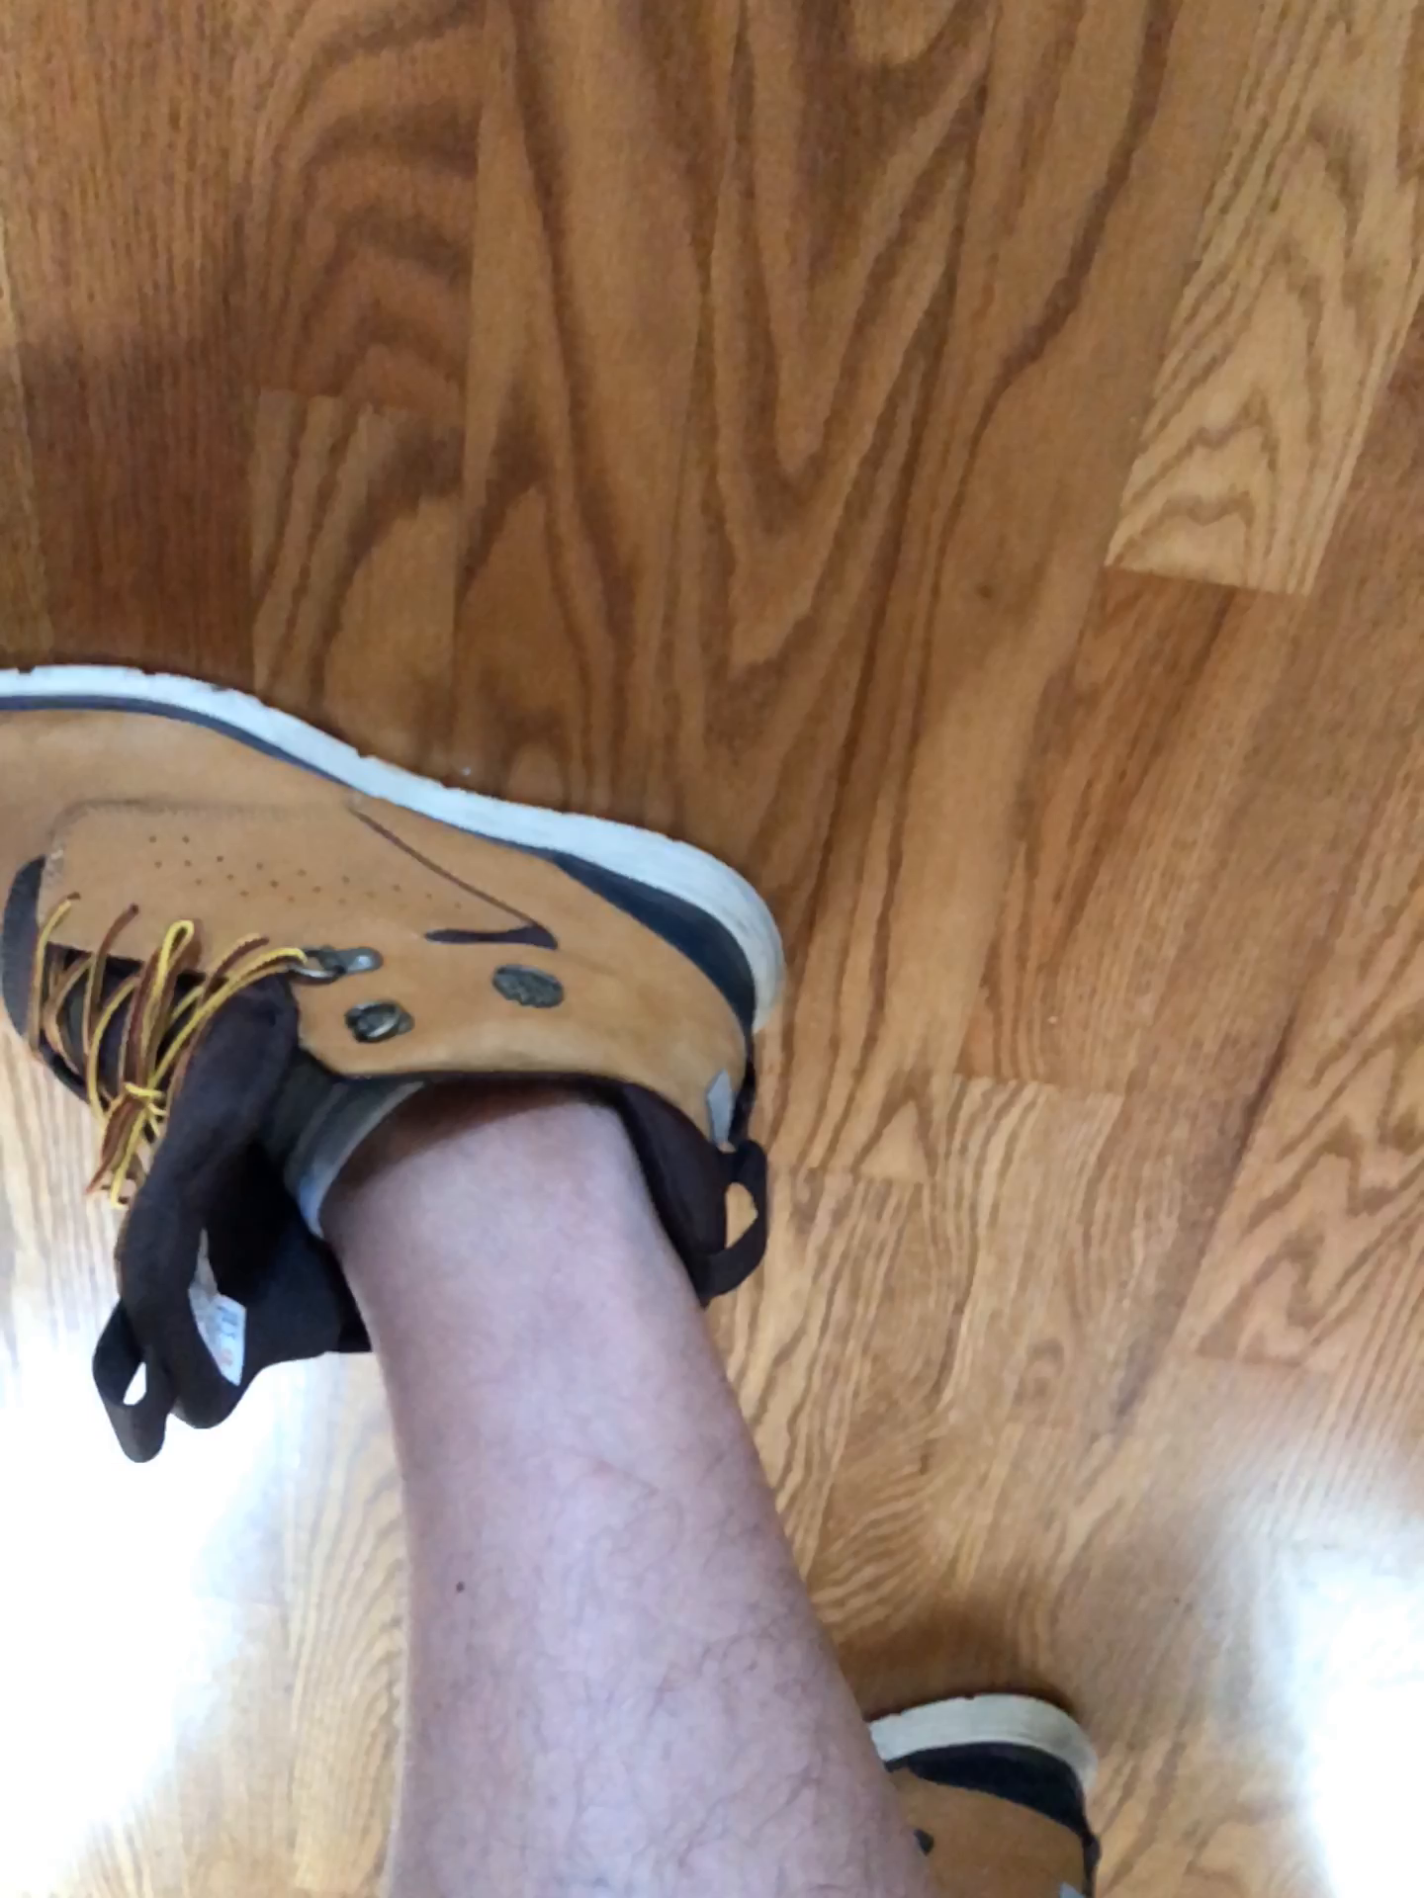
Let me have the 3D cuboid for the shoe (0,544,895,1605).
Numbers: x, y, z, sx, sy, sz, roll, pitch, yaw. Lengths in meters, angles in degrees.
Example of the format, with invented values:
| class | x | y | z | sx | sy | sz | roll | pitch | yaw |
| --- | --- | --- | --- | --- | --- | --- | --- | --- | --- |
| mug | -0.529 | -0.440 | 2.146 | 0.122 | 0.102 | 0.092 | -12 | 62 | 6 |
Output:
| class | x | y | z | sx | sy | sz | roll | pitch | yaw |
| --- | --- | --- | --- | --- | --- | --- | --- | --- | --- |
| shoe | -0.123 | 0.020 | 0.405 | 0.310 | 0.169 | 0.120 | 15 | 123 | 0 |
